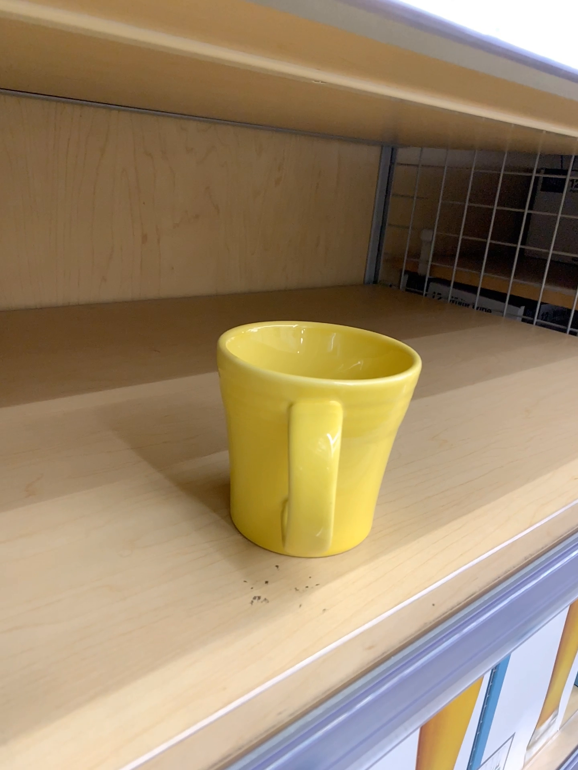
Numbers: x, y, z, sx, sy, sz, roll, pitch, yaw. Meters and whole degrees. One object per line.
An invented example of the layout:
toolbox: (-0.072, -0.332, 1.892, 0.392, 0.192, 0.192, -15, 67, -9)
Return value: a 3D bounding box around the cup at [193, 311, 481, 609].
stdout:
cup: (0.013, 0.025, 0.297, 0.103, 0.088, 0.140, 4, 19, -4)
